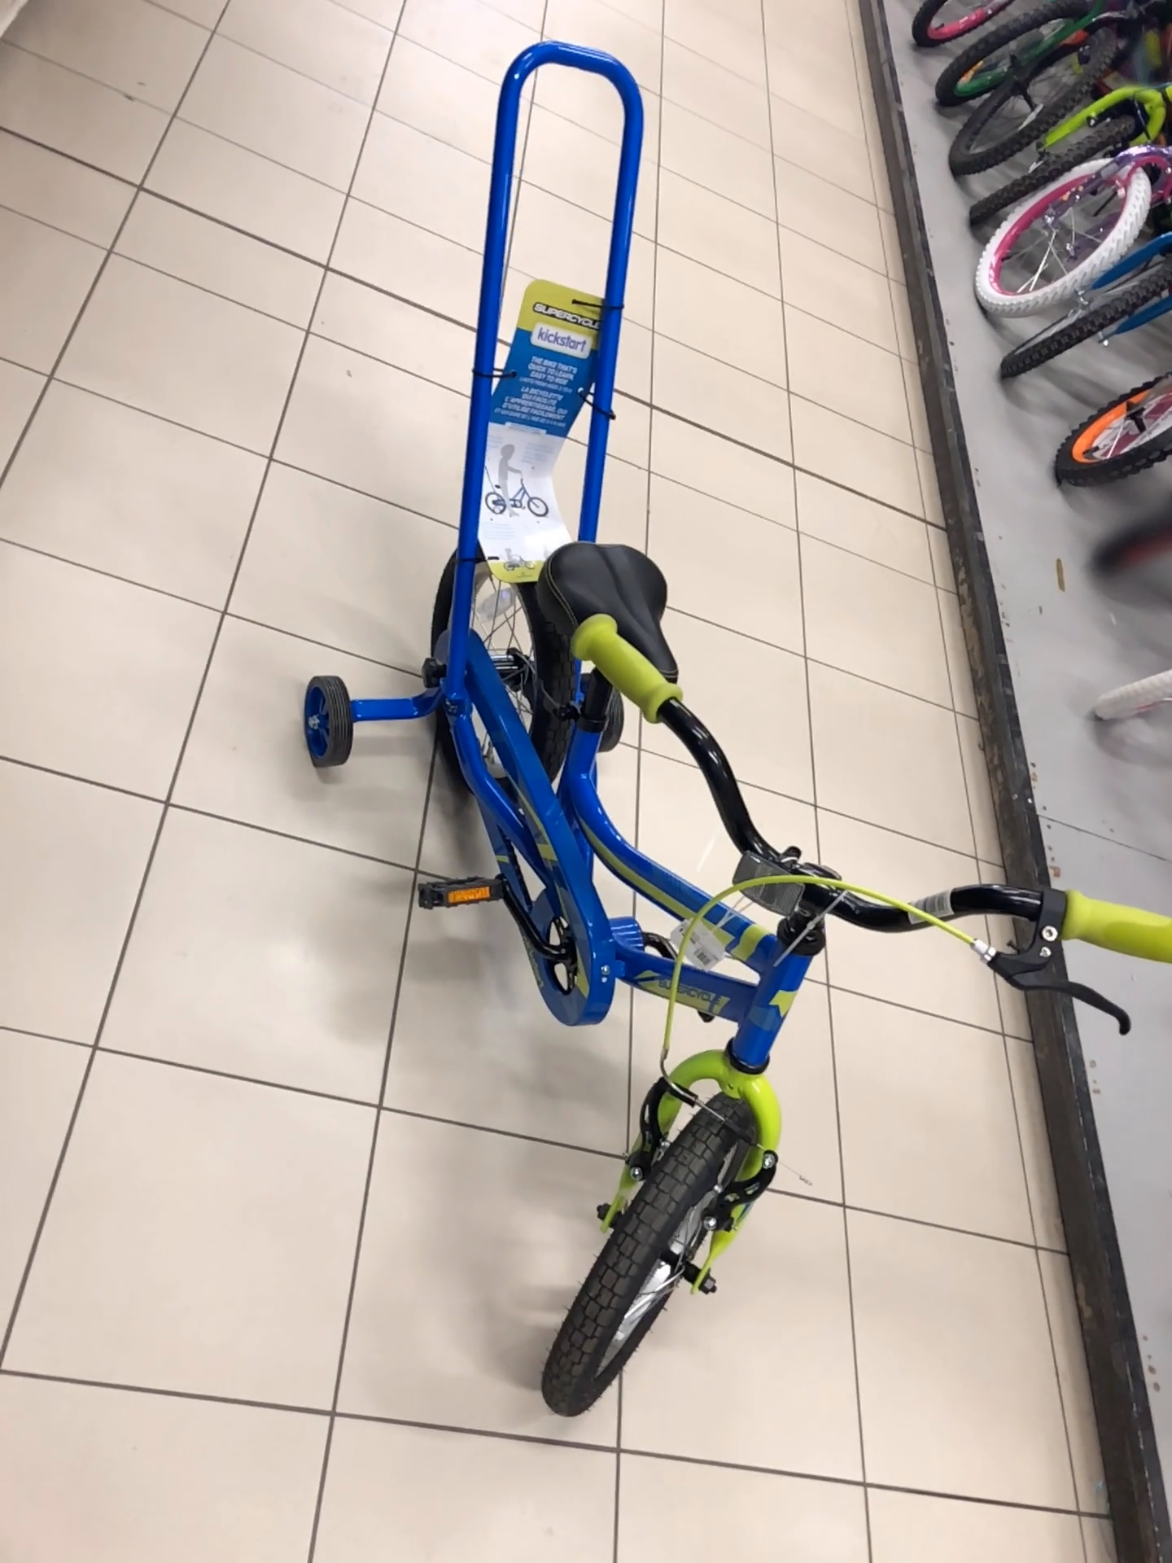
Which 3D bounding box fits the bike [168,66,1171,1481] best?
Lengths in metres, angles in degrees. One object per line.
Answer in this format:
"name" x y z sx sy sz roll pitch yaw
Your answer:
"bike" -0.017 0.006 1.197 0.539 0.763 0.955 7 54 -26
